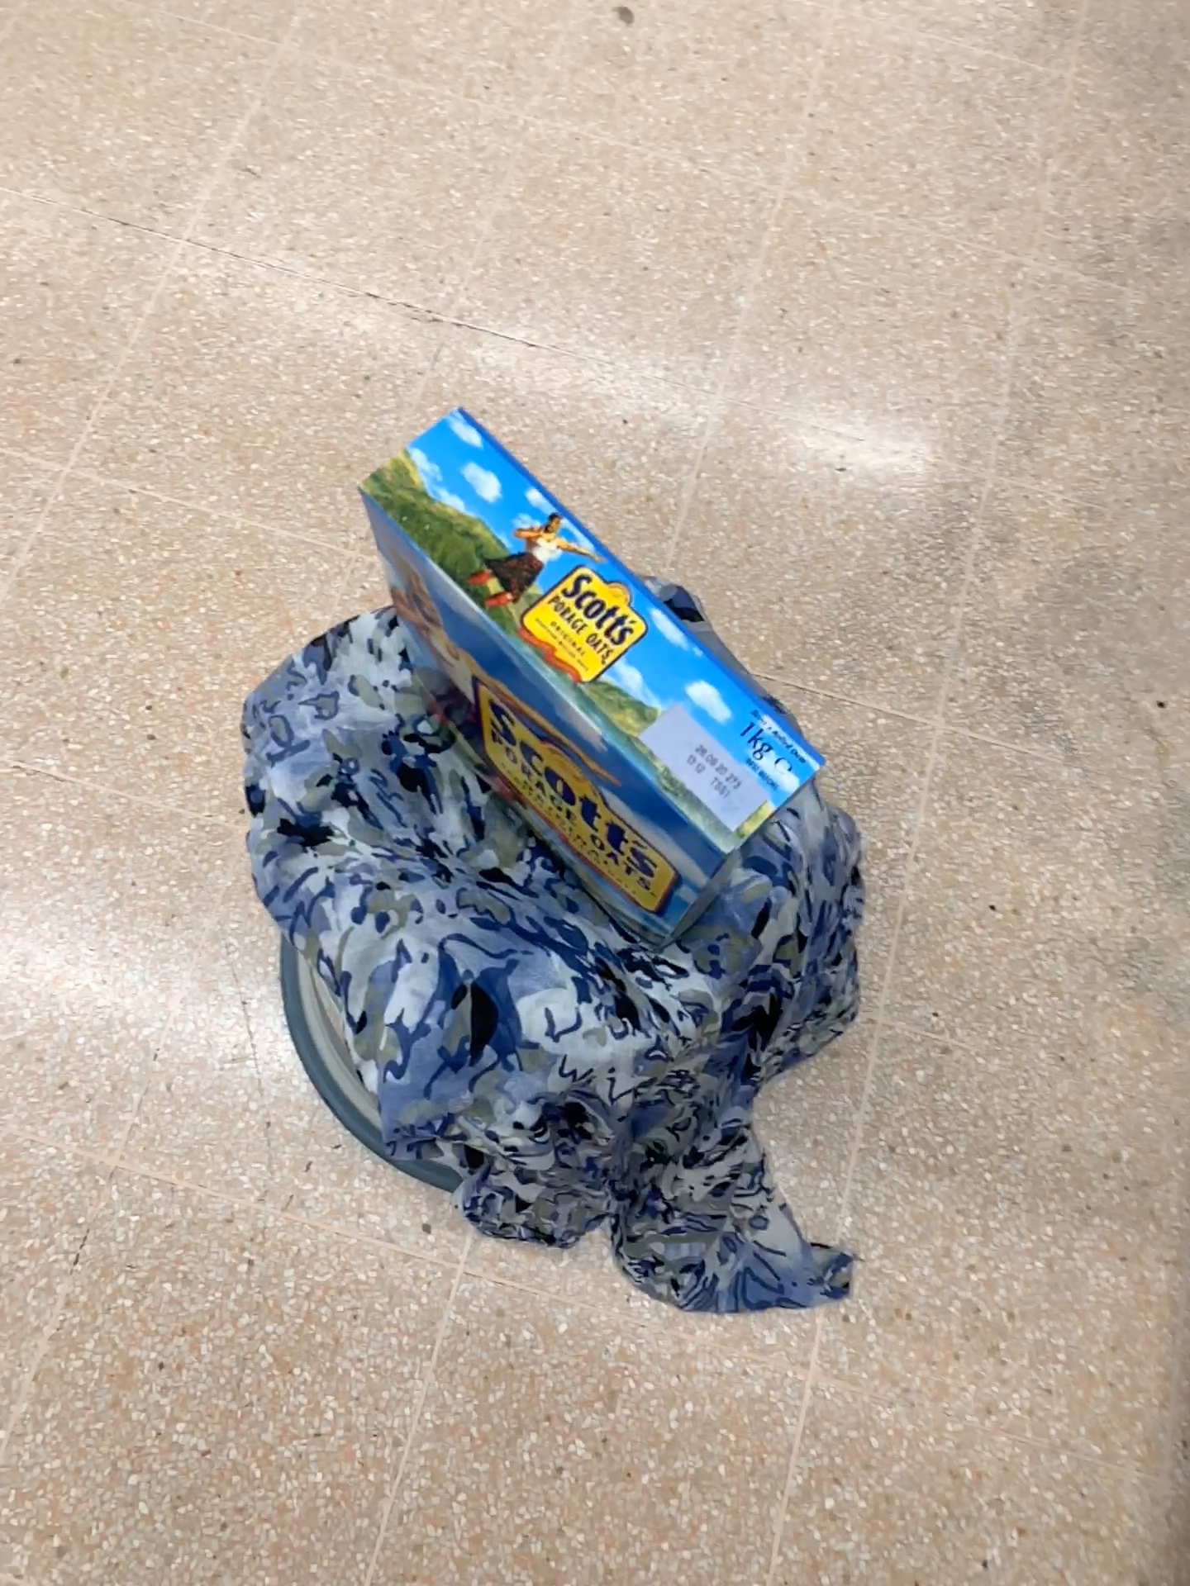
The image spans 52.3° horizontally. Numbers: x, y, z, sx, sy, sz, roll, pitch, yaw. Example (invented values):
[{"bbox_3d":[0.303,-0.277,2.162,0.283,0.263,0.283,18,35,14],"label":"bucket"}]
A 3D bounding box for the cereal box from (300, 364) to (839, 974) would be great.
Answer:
[{"bbox_3d":[-0.016,-0.032,0.542,0.060,0.249,0.210,-42,80,-12],"label":"cereal box"}]
